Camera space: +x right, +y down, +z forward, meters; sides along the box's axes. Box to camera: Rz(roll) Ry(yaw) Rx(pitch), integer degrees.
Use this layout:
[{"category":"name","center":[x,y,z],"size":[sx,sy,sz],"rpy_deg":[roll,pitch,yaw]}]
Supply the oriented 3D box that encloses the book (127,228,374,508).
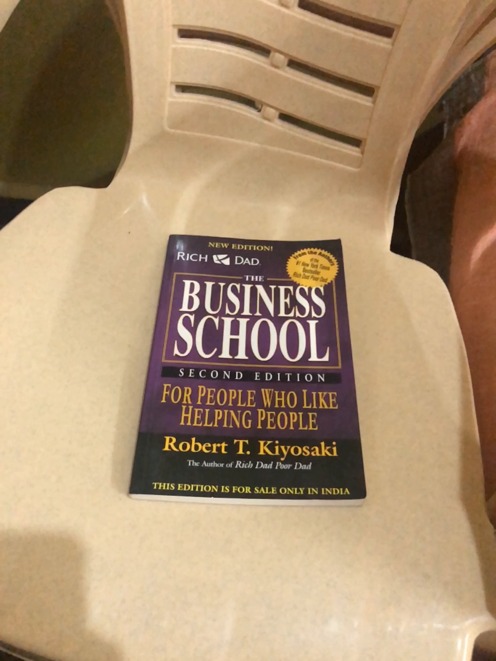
[{"category":"book","center":[0.005,0.019,0.441],"size":[0.170,0.020,0.230],"rpy_deg":[2,62,-1]}]
